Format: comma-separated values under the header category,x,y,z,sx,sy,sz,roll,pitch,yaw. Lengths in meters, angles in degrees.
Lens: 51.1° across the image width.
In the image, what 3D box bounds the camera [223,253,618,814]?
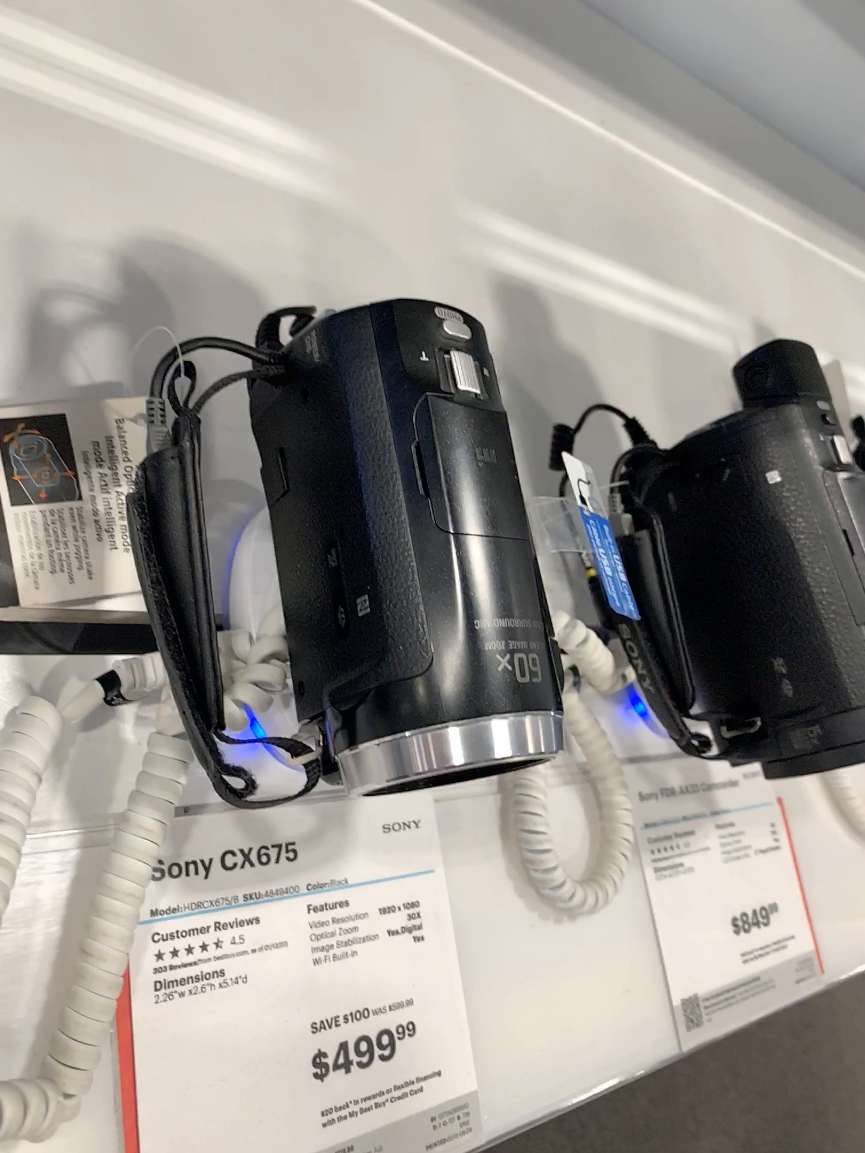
category,x,y,z,sx,sy,sz,roll,pitch,yaw
camera,-0.007,-0.006,0.220,0.054,0.060,0.112,4,69,-40
